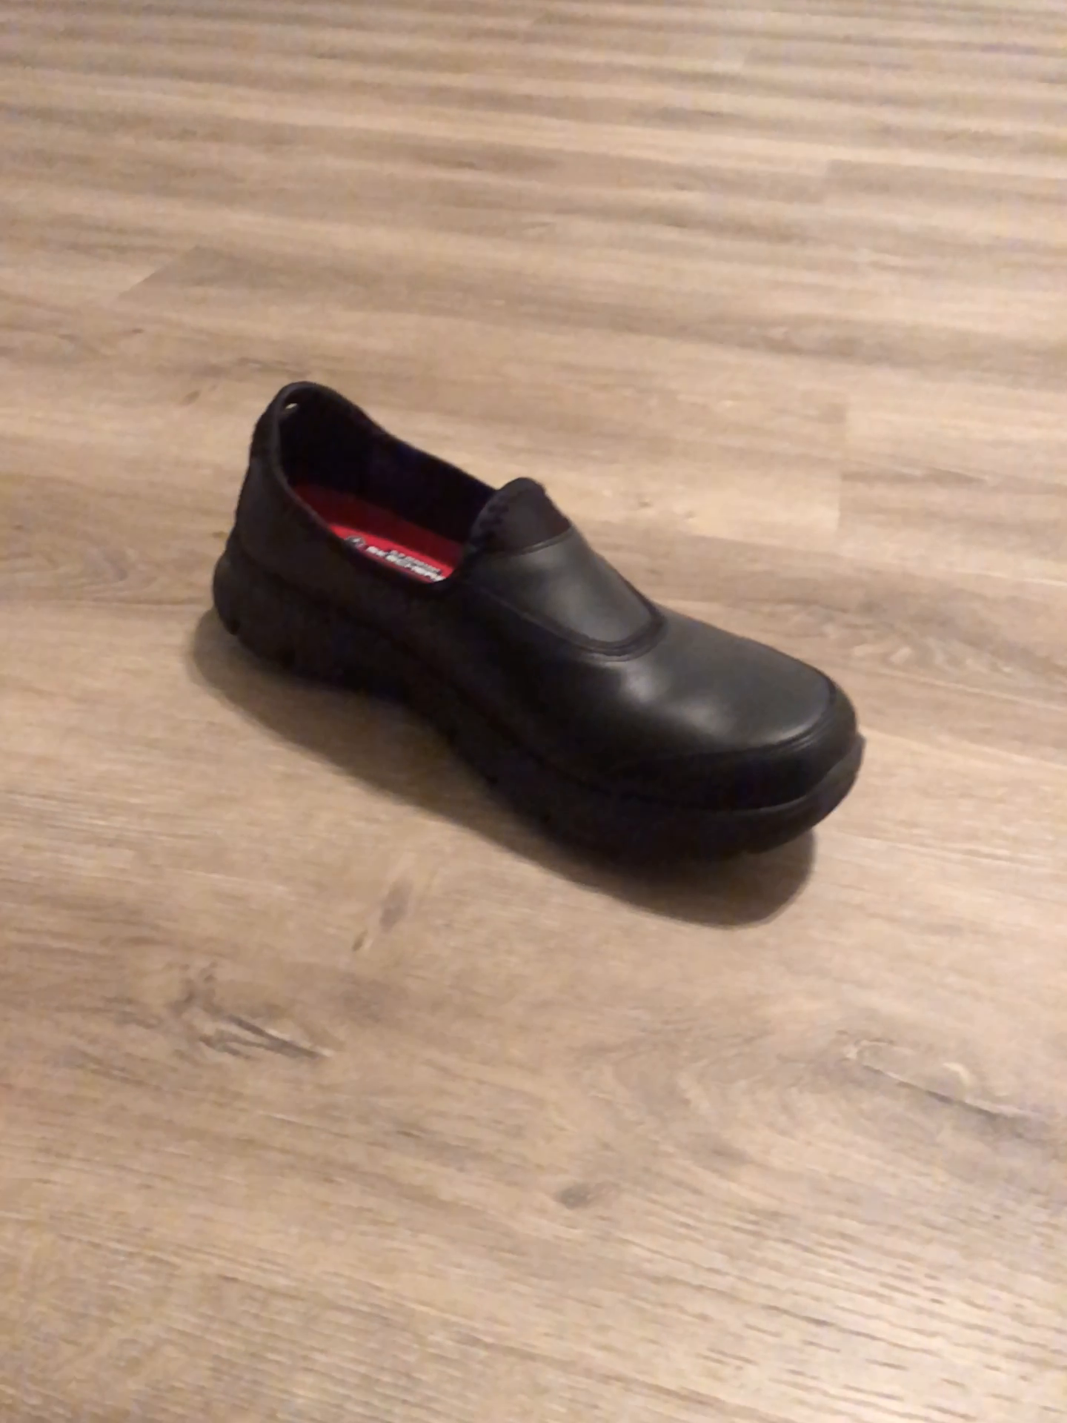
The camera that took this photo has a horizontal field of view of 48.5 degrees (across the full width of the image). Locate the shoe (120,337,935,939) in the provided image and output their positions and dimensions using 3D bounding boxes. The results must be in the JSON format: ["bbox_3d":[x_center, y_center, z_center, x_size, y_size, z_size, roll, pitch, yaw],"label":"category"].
[{"bbox_3d":[-0.011,-0.038,0.388,0.240,0.090,0.090,24,43,26],"label":"shoe"}]
